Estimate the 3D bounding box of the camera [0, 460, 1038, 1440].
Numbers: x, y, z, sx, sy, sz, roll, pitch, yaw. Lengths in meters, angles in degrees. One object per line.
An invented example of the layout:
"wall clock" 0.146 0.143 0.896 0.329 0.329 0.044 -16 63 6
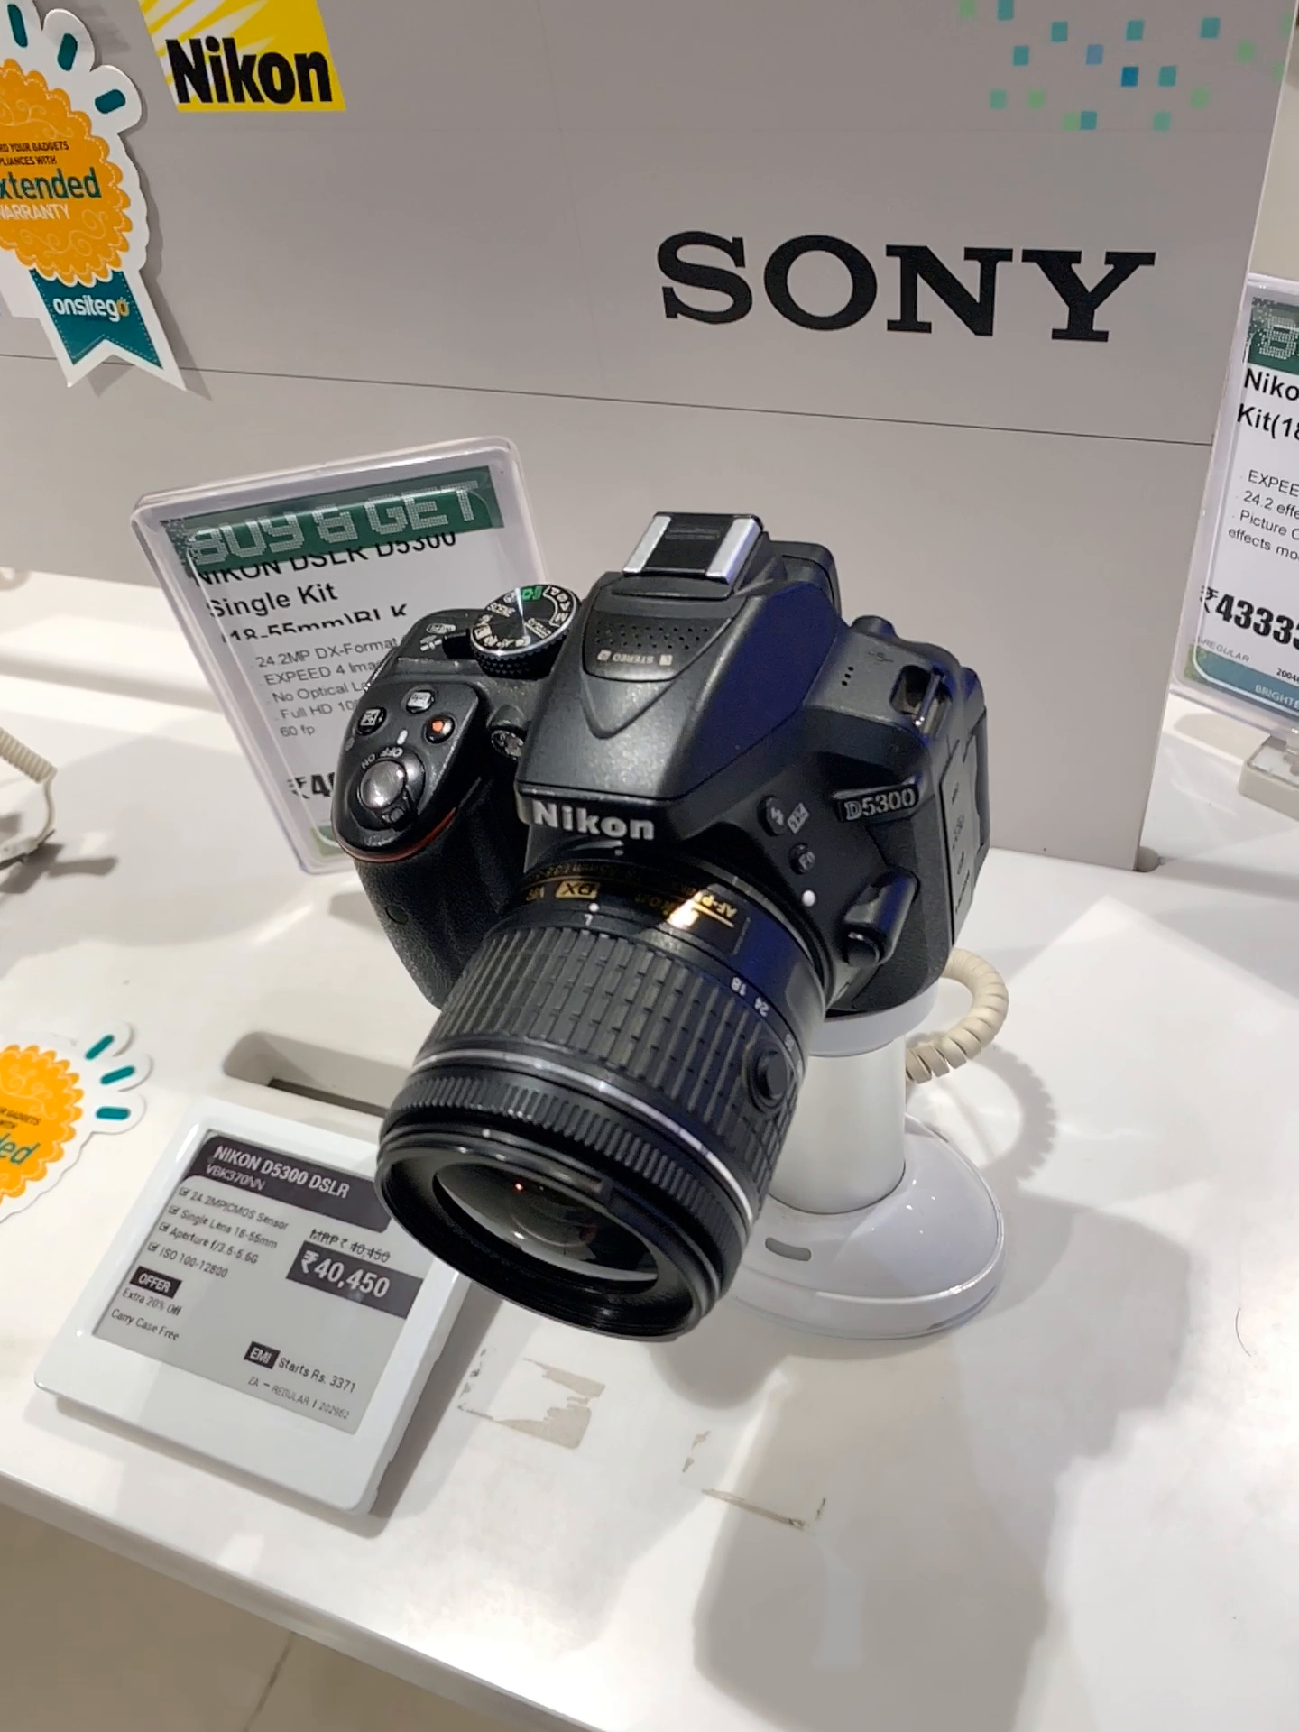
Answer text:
"camera" -0.013 0.000 0.222 0.130 0.070 0.130 8 47 17
